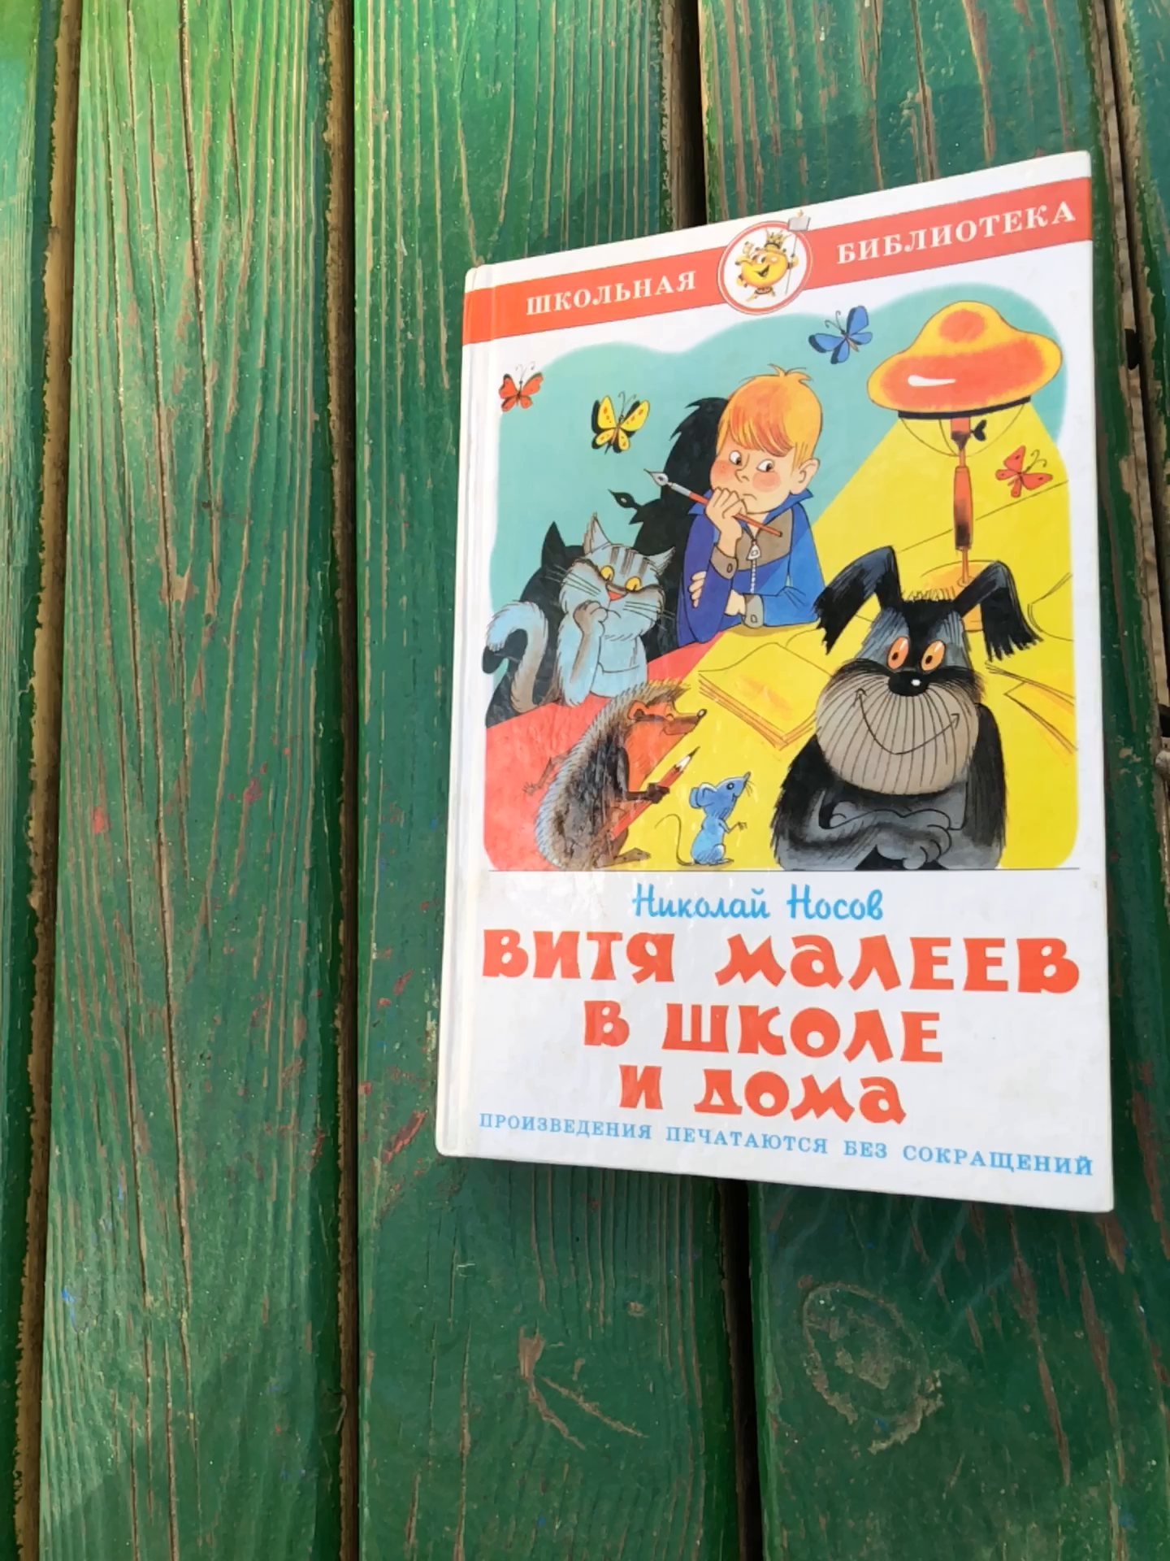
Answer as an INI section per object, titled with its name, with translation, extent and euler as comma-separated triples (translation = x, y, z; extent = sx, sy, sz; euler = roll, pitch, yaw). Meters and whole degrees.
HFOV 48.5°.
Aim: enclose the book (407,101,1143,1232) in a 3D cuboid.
[book]
translation = 0.036, -0.024, 0.275
extent = 0.145, 0.020, 0.212
euler = -1, 82, 22
